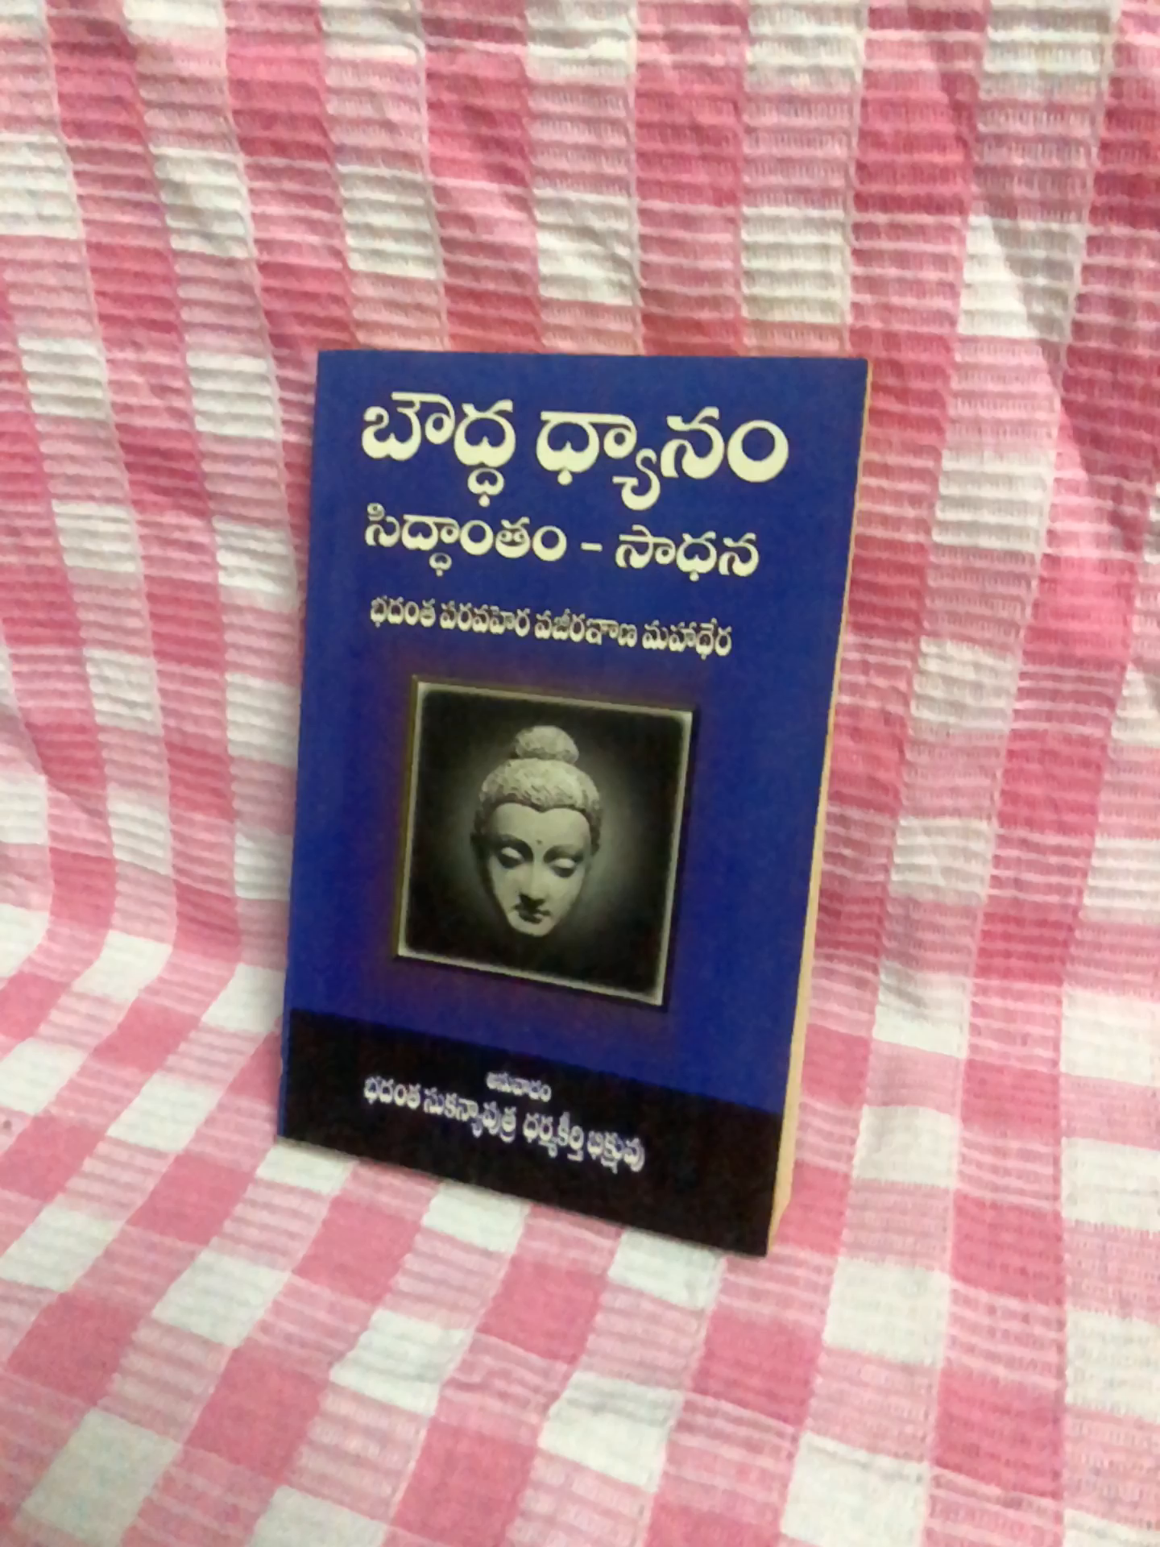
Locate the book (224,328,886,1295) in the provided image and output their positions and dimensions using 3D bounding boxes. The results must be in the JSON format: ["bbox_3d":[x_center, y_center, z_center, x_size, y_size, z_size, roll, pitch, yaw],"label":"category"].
[{"bbox_3d":[-0.014,0.003,0.343,0.160,0.230,0.030,7,7,20],"label":"book"}]
